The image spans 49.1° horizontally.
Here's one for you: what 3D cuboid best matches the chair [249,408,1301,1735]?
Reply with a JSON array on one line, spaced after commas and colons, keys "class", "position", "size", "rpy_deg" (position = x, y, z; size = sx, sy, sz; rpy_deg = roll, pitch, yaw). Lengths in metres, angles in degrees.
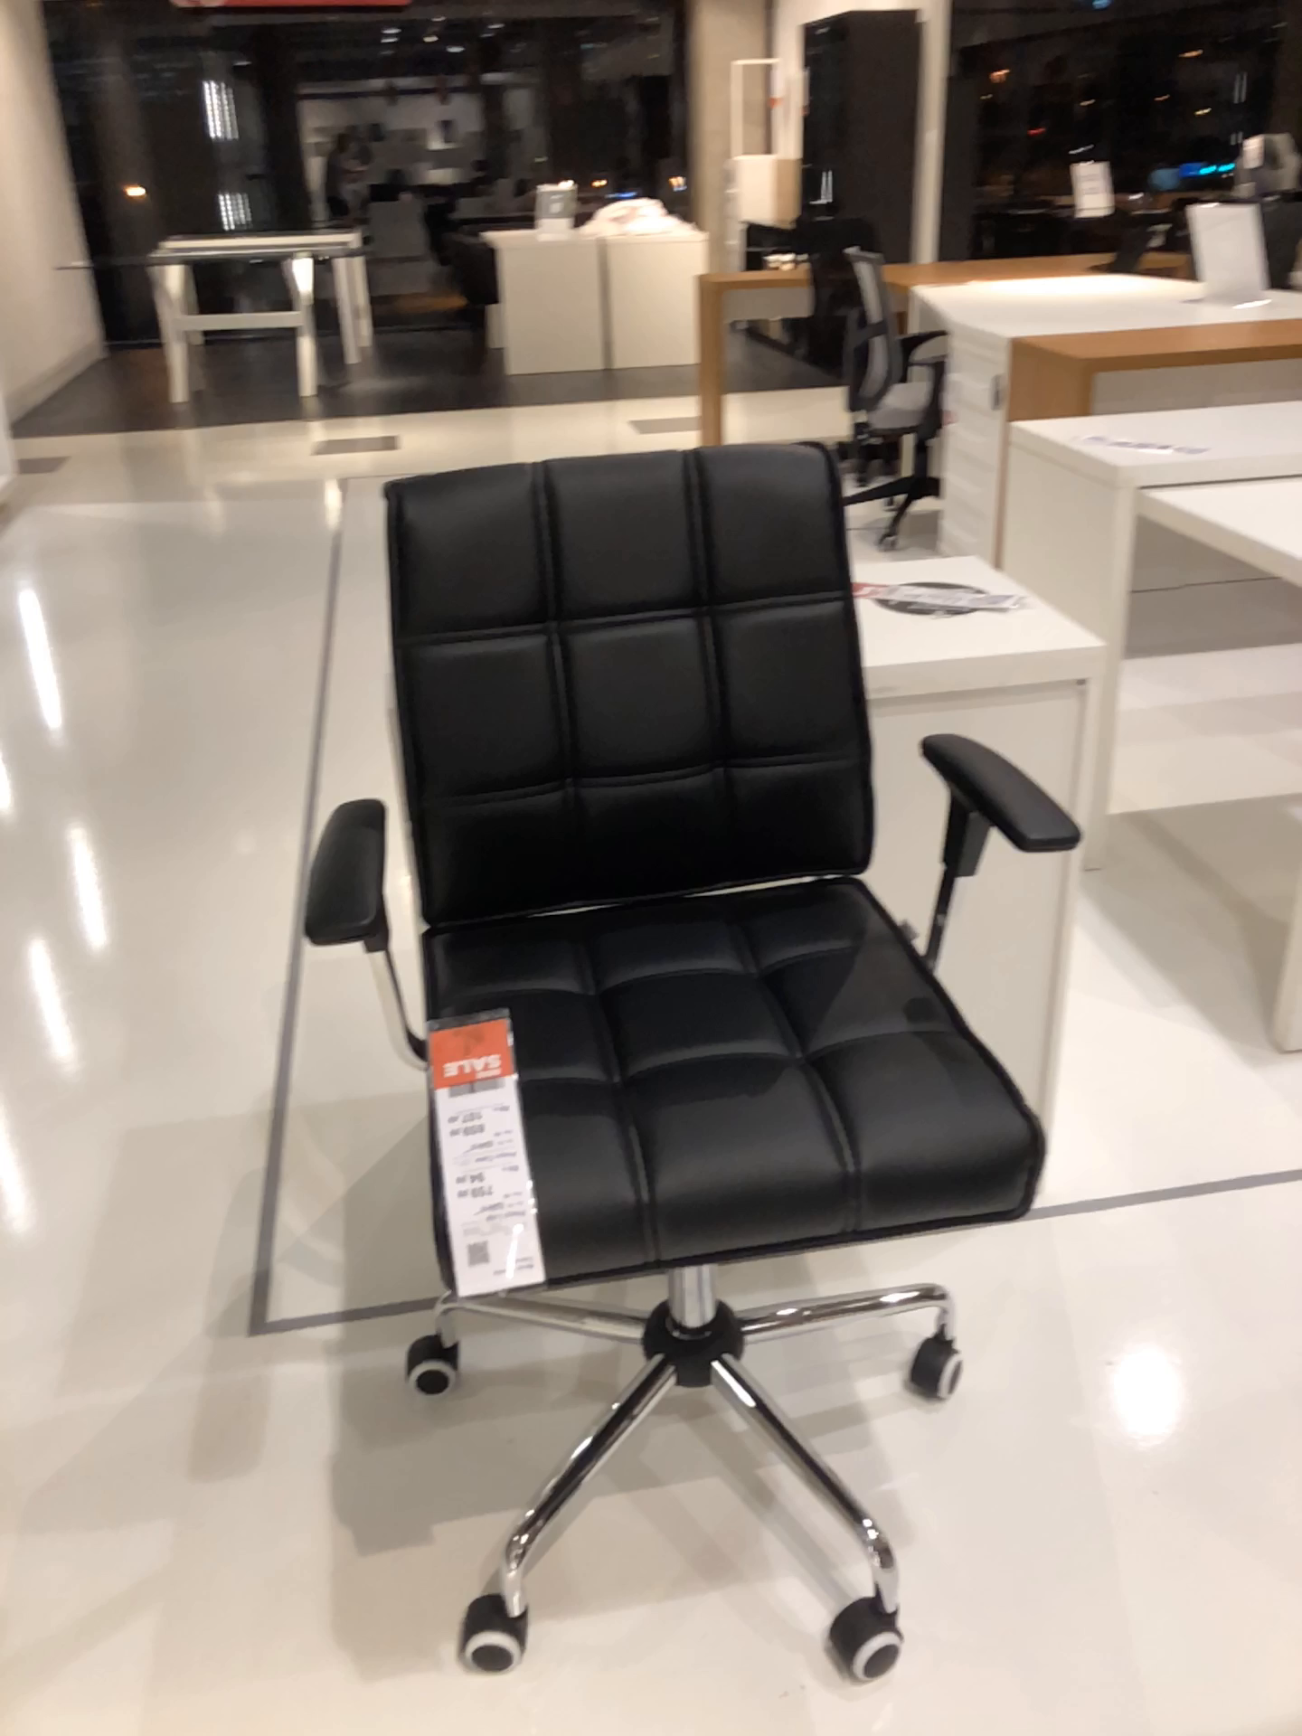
[{"class": "chair", "position": [0.026, 0.124, 1.328], "size": [0.620, 0.913, 0.745], "rpy_deg": [-8, 27, -11]}]
